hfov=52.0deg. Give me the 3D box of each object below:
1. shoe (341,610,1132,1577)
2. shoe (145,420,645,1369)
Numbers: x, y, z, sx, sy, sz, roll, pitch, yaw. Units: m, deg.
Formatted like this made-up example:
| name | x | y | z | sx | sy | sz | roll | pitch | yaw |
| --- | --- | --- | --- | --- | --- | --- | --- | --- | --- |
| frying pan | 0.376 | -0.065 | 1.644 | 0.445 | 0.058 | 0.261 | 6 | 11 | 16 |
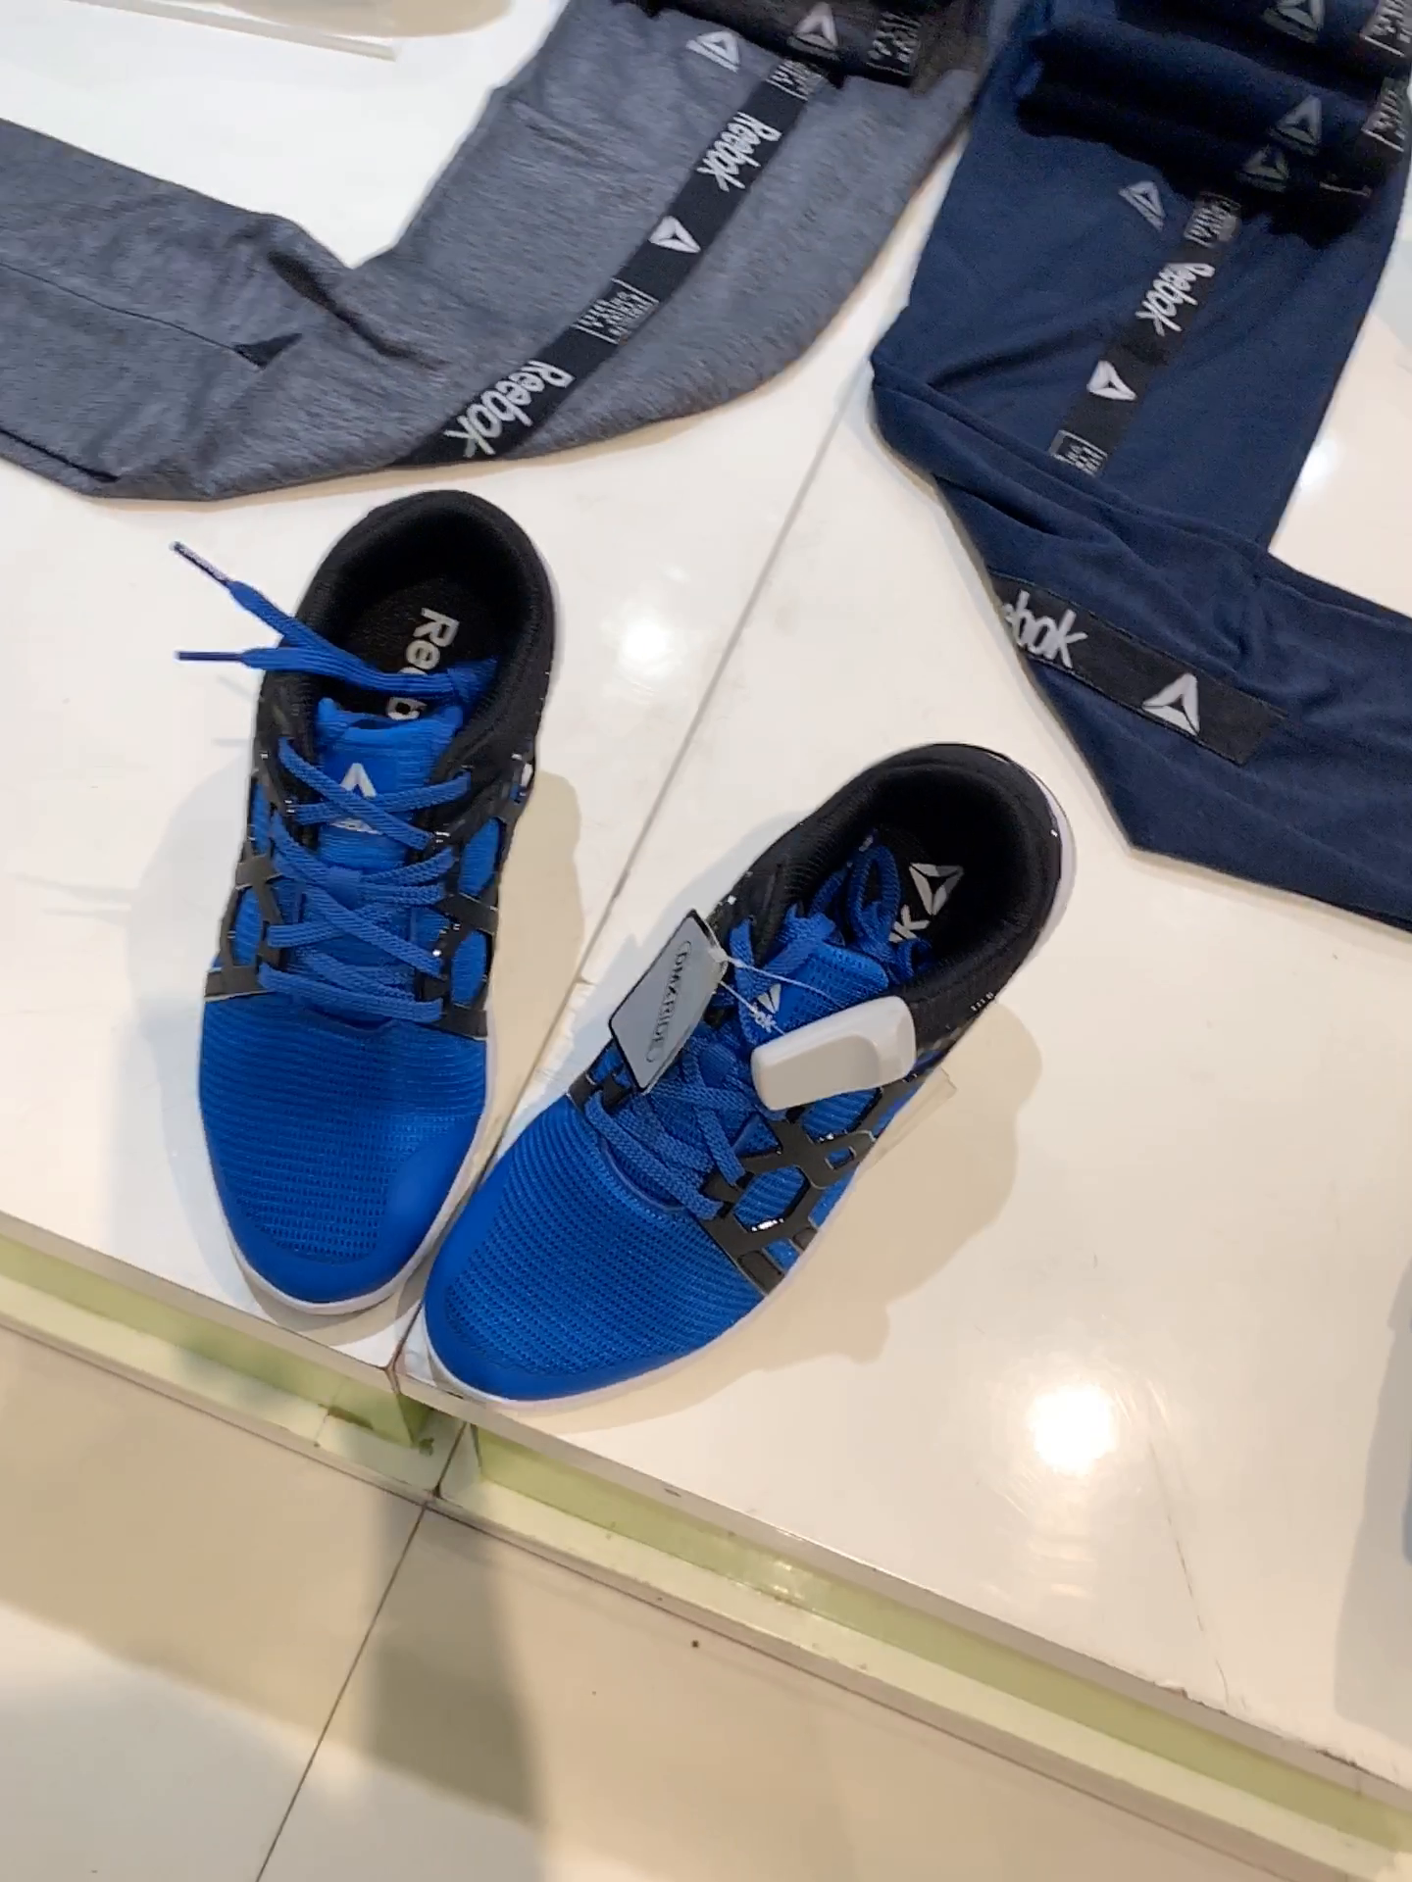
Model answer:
| name | x | y | z | sx | sy | sz | roll | pitch | yaw |
| --- | --- | --- | --- | --- | --- | --- | --- | --- | --- |
| shoe | 0.007 | 0.050 | 0.468 | 0.100 | 0.080 | 0.289 | 36 | 105 | 12 |
| shoe | -0.105 | -0.014 | 0.495 | 0.100 | 0.100 | 0.280 | 11 | 96 | -11 |
